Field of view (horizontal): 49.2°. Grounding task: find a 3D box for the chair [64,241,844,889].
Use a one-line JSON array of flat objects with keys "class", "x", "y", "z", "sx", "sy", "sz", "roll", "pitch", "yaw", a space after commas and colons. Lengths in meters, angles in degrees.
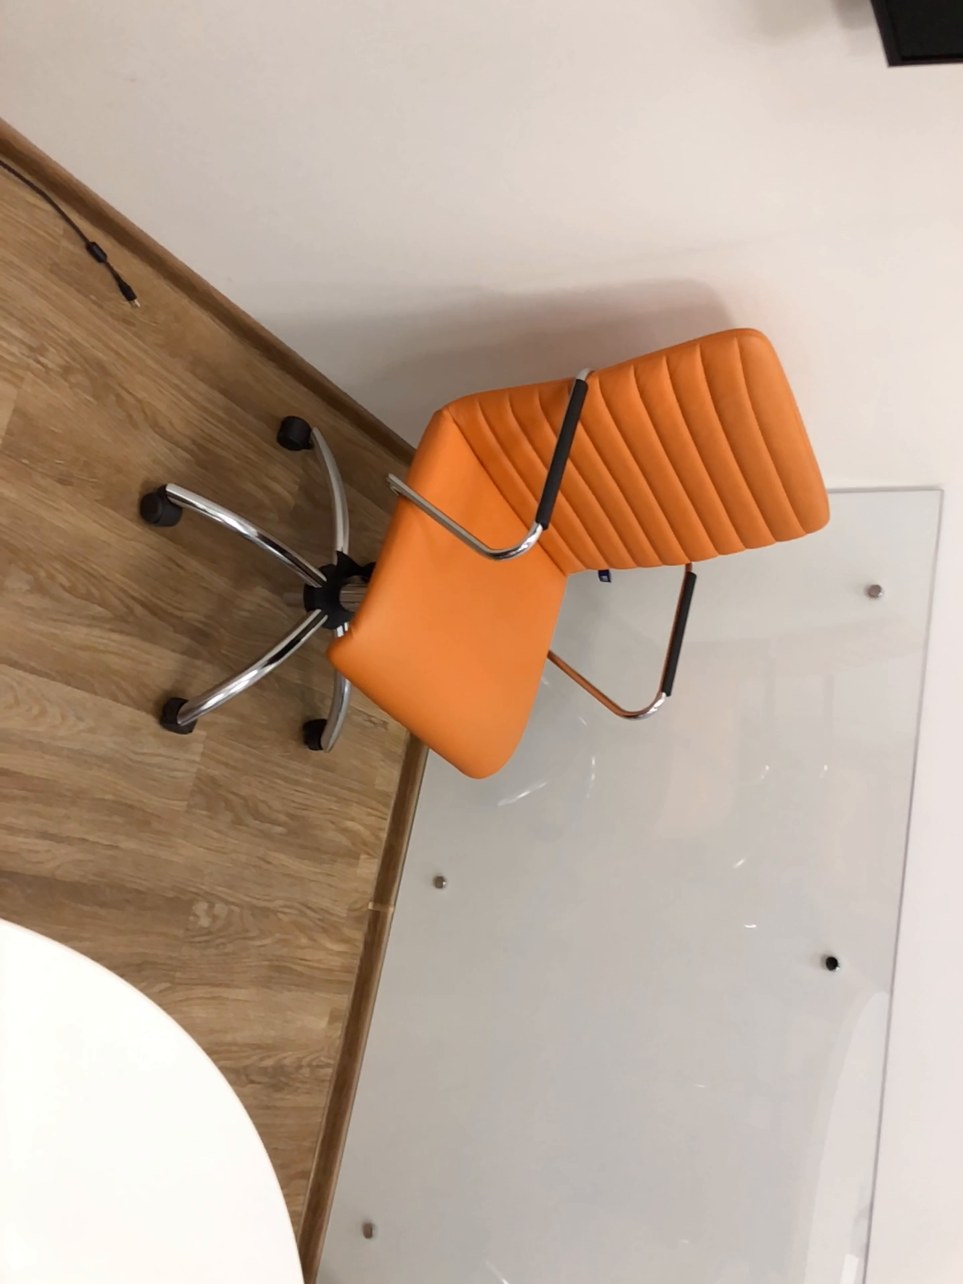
[{"class": "chair", "x": -0.002, "y": -0.079, "z": 1.648, "sx": 0.623, "sy": 0.895, "sz": 0.661, "roll": 40, "pitch": 59, "yaw": -52}]
